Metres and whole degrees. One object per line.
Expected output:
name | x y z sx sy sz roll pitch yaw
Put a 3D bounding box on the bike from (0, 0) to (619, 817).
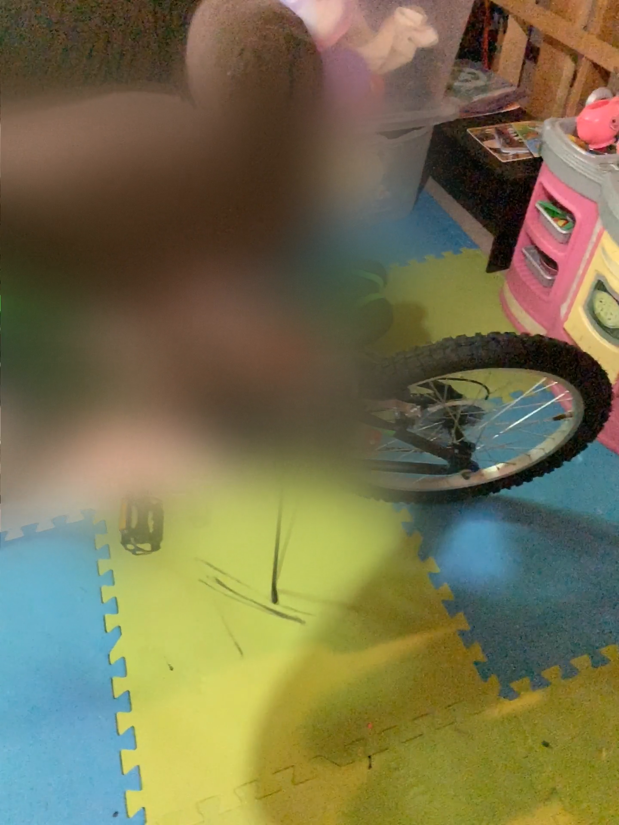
bike | -0.163 -0.007 0.875 1.269 0.841 0.536 -12 48 -6
